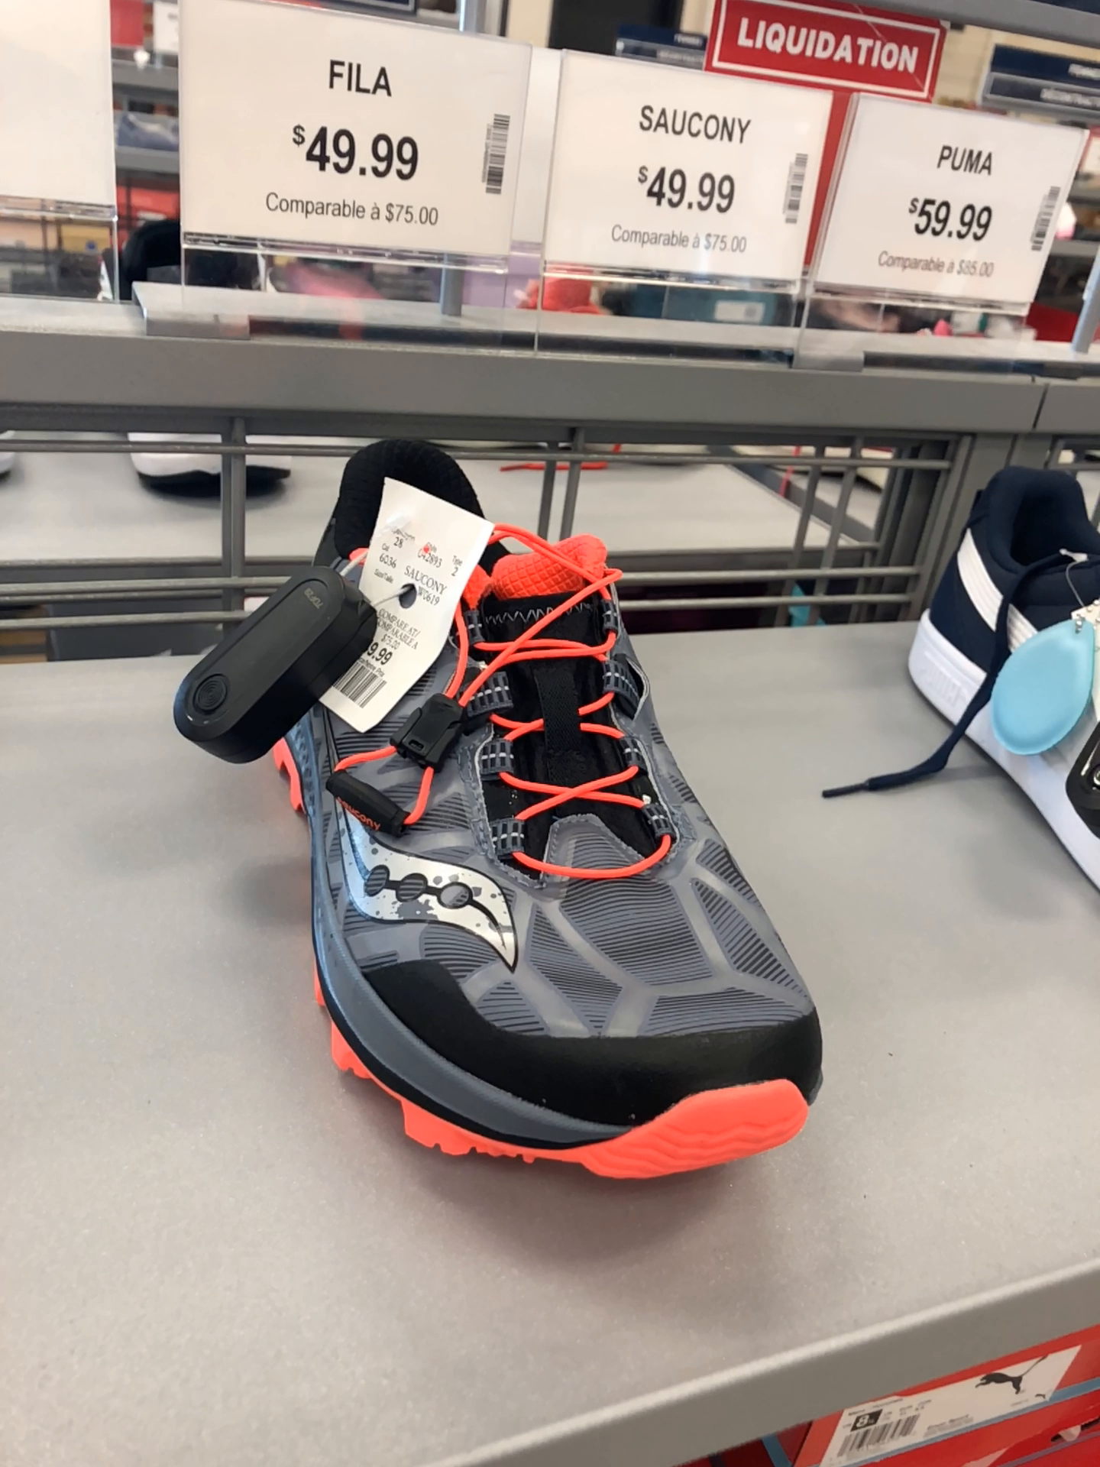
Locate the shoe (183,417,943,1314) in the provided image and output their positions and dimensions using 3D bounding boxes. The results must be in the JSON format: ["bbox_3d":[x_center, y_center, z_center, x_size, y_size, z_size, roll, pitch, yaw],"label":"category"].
[{"bbox_3d":[-0.032,0.000,0.369,0.110,0.109,0.292,-5,31,-23],"label":"shoe"}]
